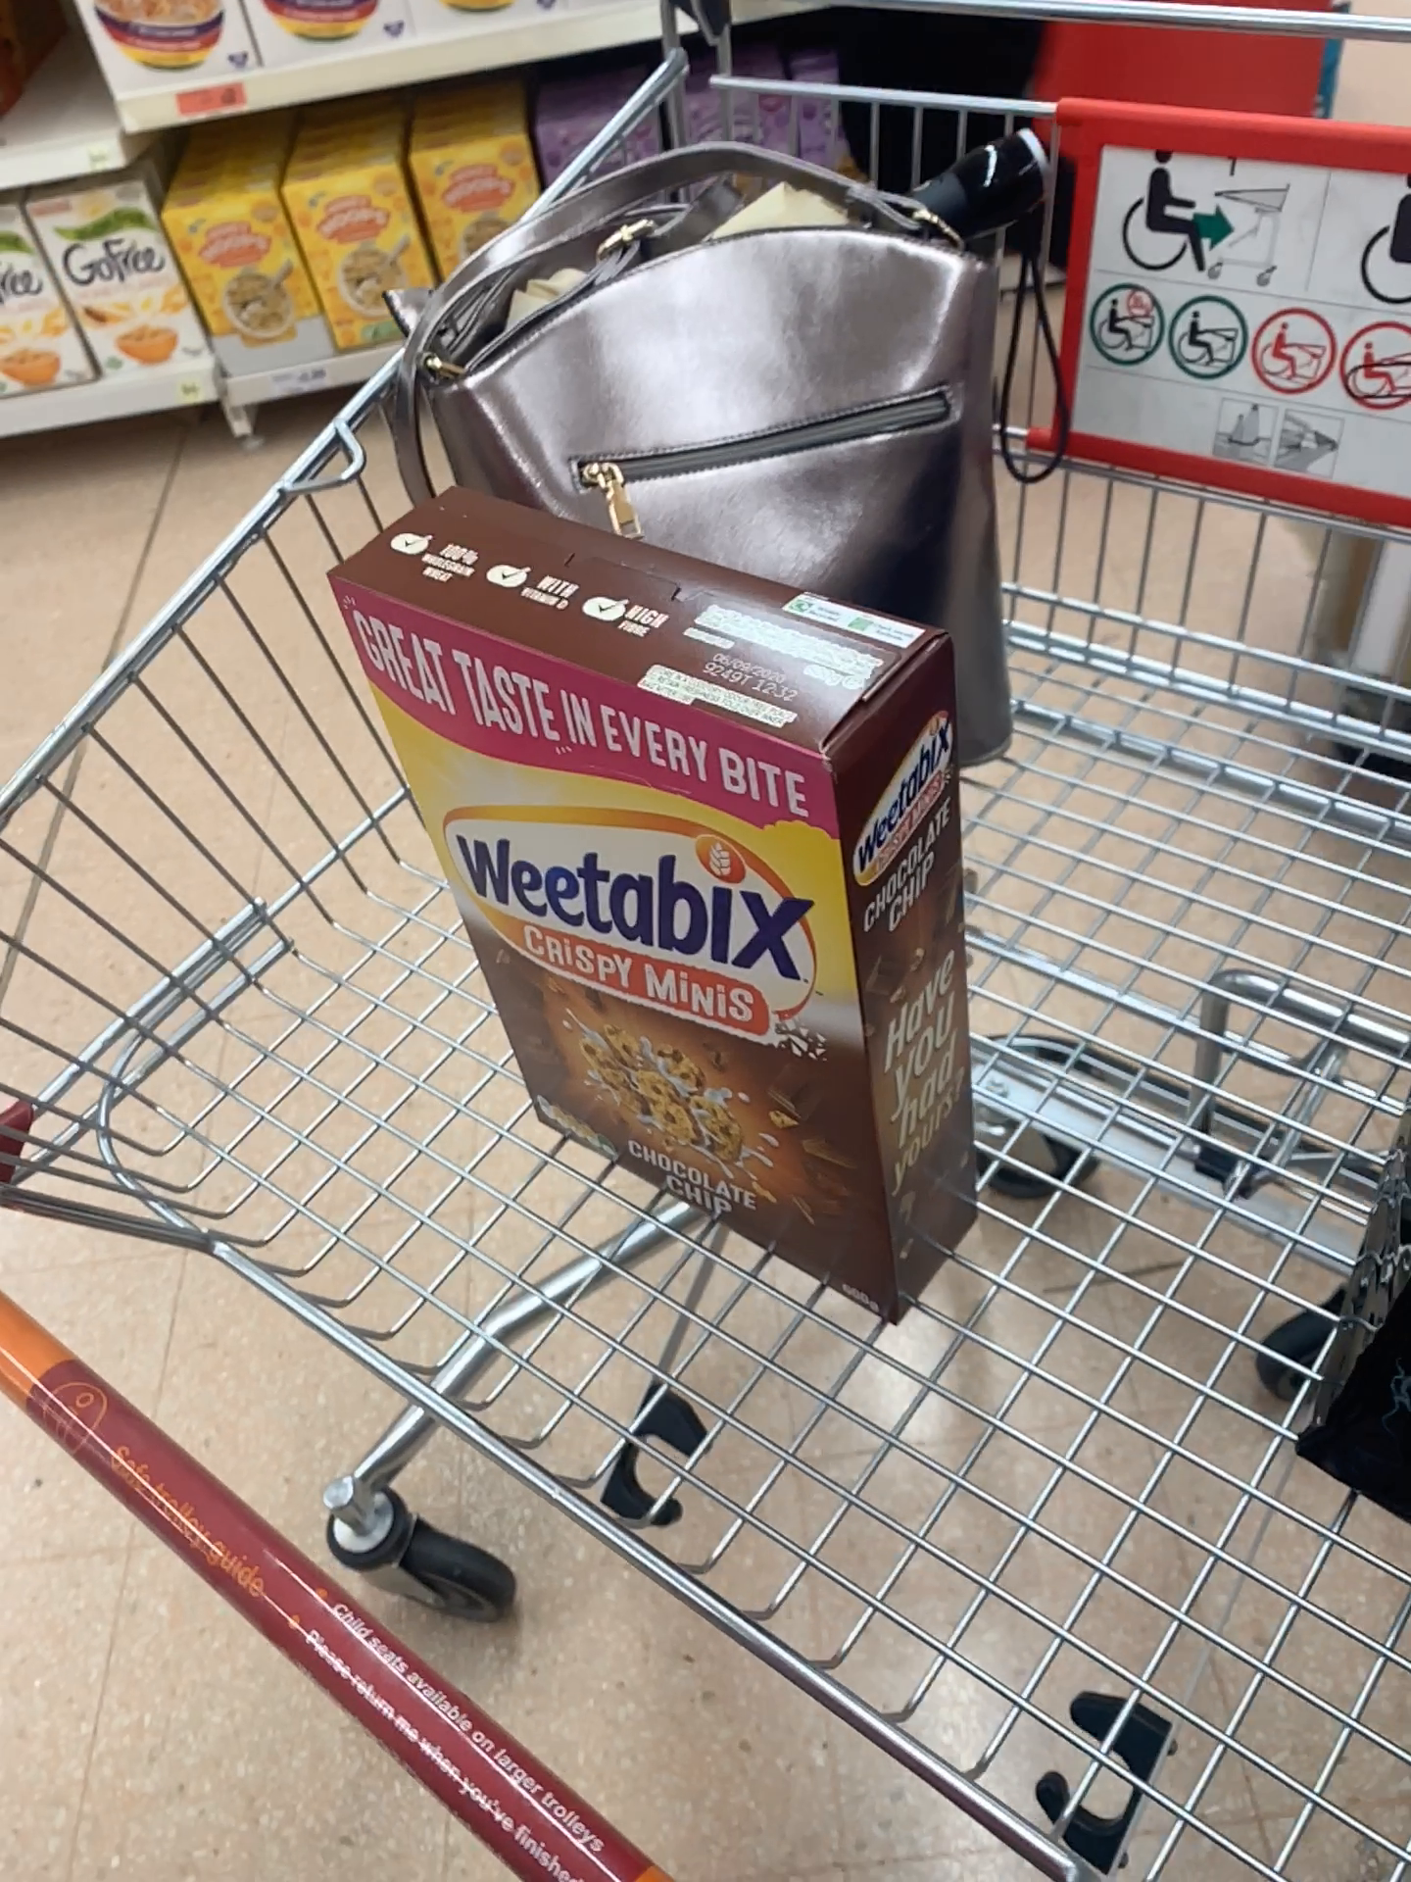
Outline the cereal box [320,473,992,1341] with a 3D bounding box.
[{"bbox_3d":[-0.004,0.000,0.499,0.191,0.277,0.060,25,55,29],"label":"cereal box"}]
